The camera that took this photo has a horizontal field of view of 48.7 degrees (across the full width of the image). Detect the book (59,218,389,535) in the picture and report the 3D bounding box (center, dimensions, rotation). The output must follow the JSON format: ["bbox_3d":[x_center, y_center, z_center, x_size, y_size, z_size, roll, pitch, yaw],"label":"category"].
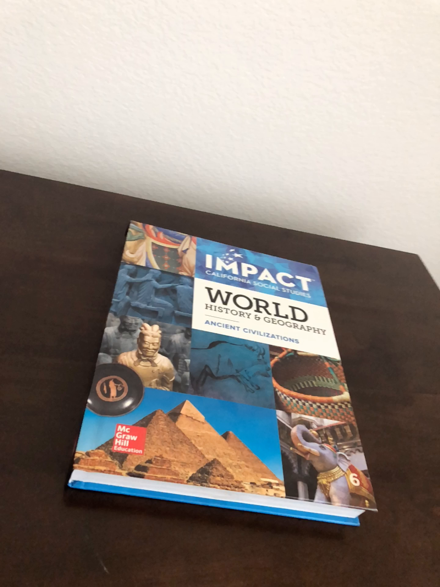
[{"bbox_3d":[0.007,0.051,0.439,0.227,0.030,0.286,13,40,-12],"label":"book"}]
